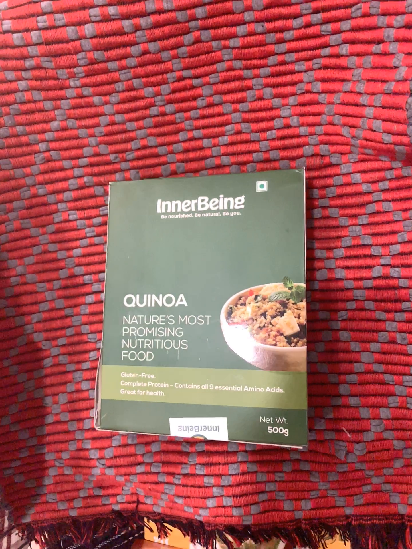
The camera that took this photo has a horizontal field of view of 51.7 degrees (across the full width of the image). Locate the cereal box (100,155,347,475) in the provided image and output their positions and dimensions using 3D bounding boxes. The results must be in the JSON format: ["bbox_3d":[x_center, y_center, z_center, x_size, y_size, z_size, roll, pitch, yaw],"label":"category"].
[{"bbox_3d":[0.011,0.022,0.280,0.150,0.040,0.180,-1,84,16],"label":"cereal box"}]
